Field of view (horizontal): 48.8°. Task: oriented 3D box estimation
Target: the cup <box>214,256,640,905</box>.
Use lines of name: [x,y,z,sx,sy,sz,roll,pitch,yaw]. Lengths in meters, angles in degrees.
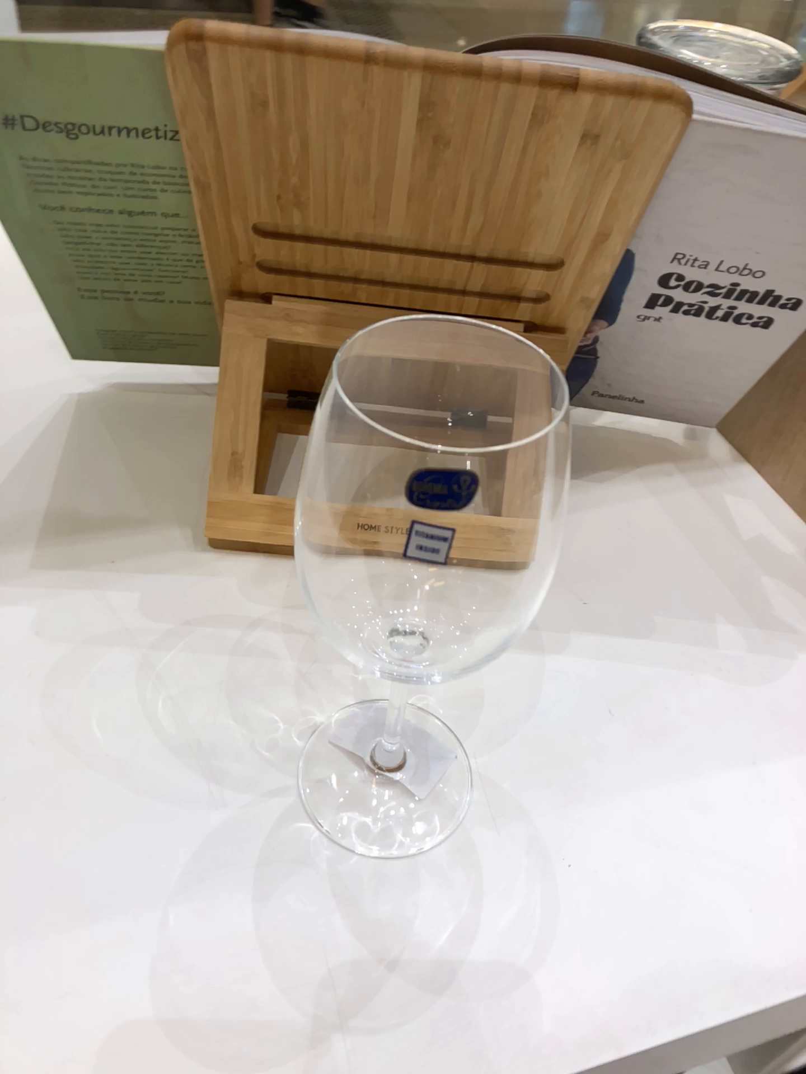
cup: [-0.010,0.030,0.327,0.100,0.238,0.091,-4,44,-13]
